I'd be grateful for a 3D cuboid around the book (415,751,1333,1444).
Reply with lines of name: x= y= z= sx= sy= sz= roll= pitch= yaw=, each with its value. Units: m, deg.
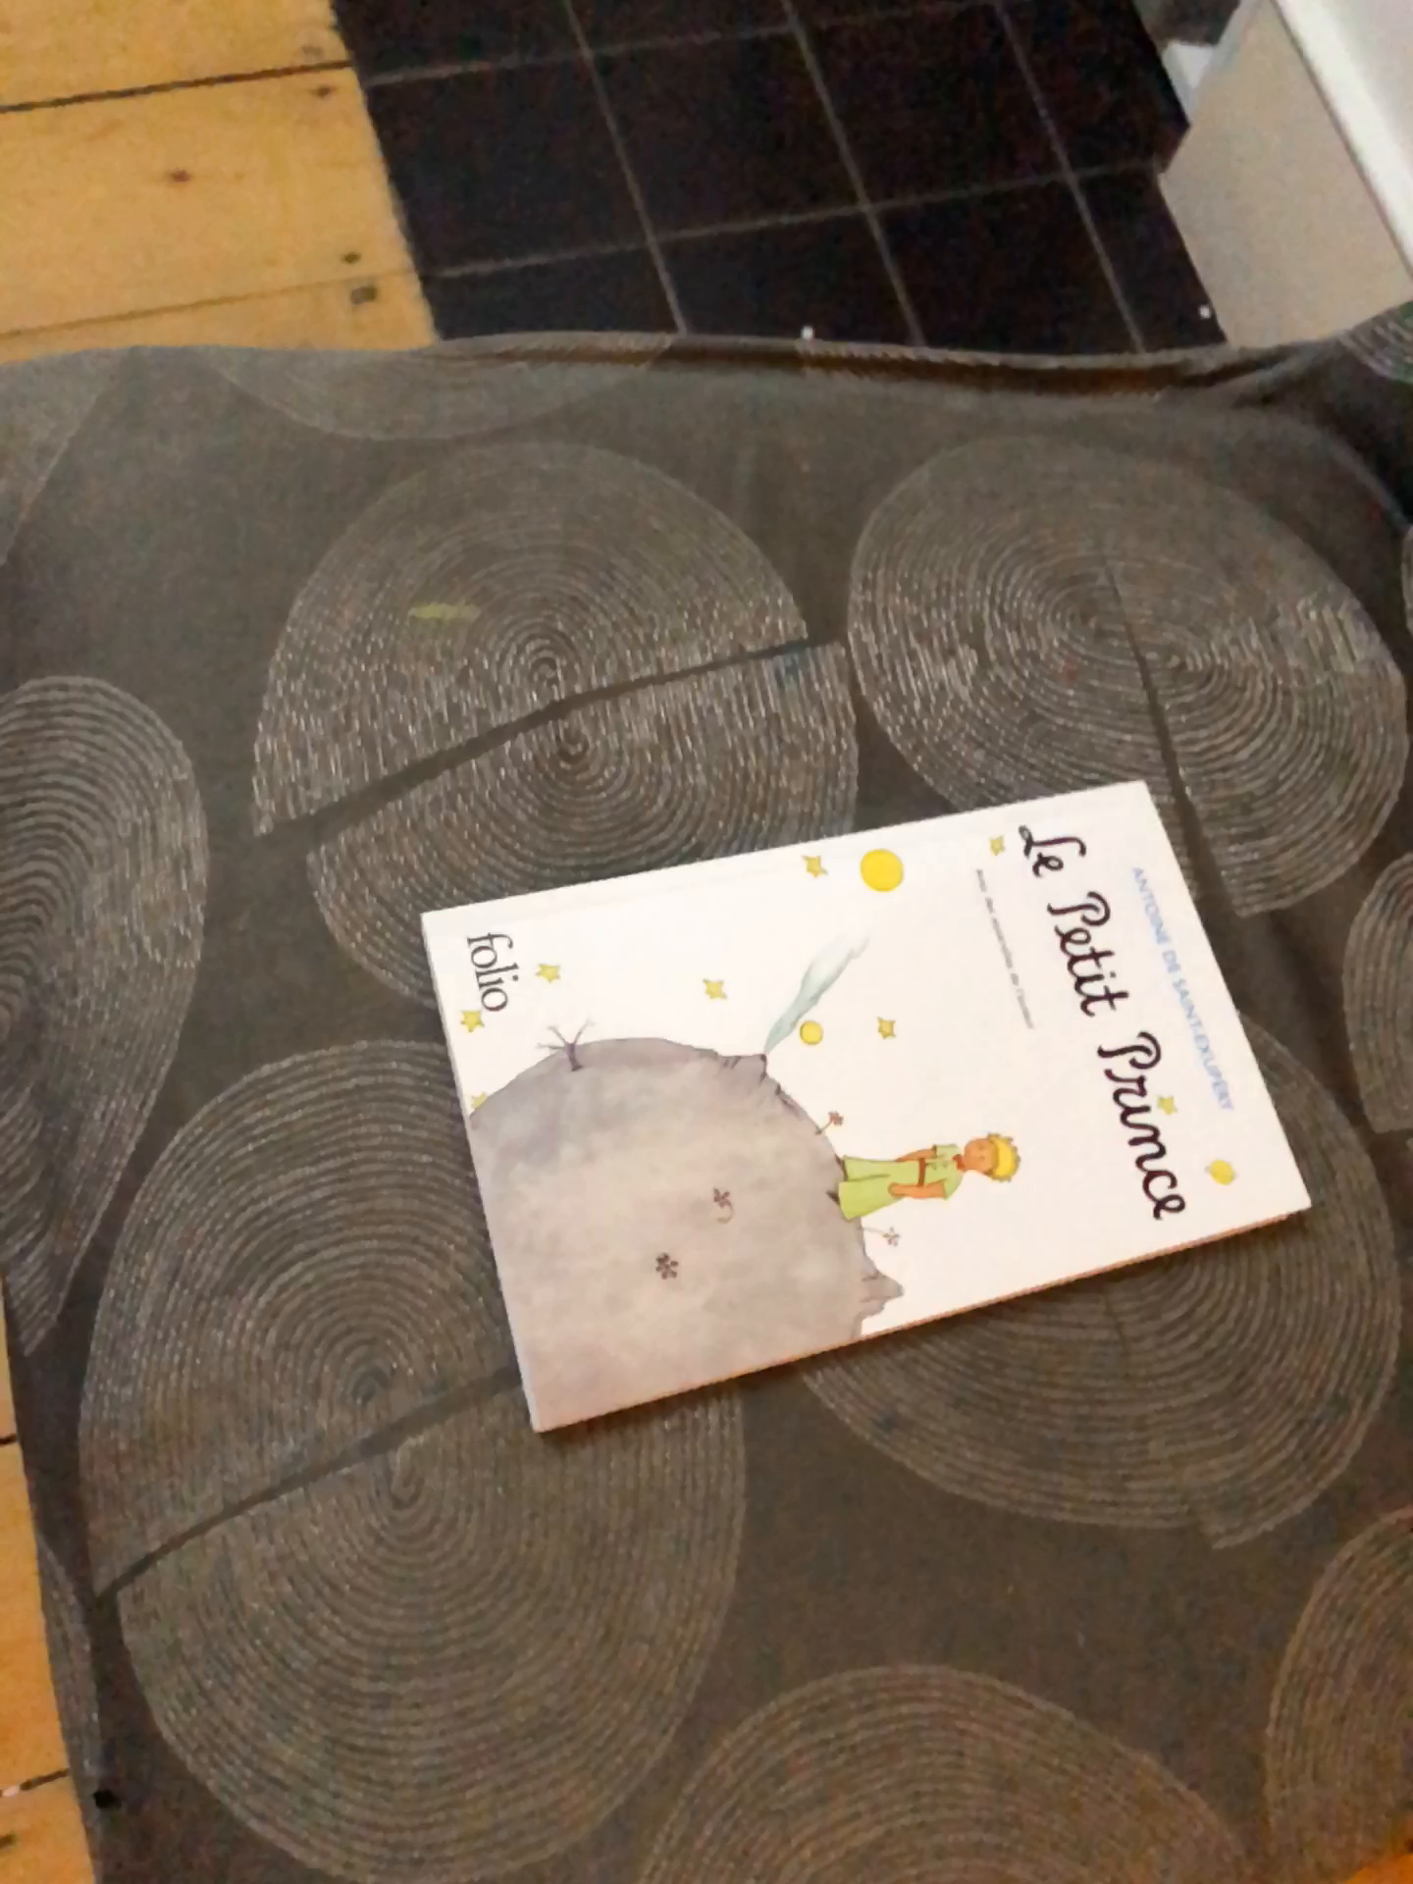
book: x=0.034 y=0.029 z=0.335 sx=0.170 sy=0.030 sz=0.110 roll=-11 pitch=76 yaw=-11
